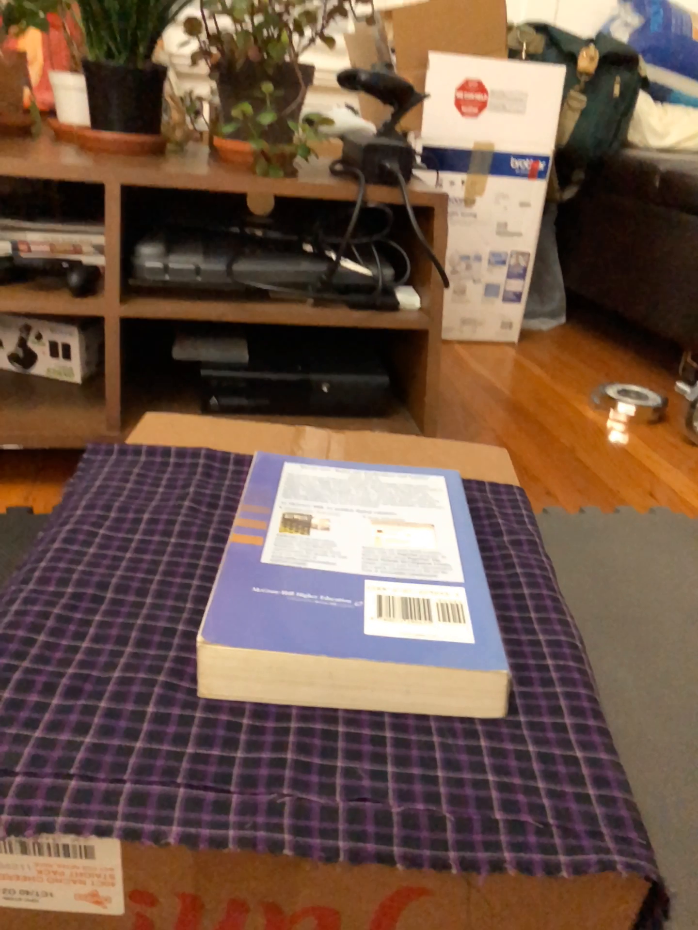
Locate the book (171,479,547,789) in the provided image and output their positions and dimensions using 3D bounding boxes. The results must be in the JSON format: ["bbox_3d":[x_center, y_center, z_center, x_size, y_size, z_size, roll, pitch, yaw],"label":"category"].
[{"bbox_3d":[0.003,0.087,0.484,0.180,0.040,0.241,4,25,-2],"label":"book"}]
